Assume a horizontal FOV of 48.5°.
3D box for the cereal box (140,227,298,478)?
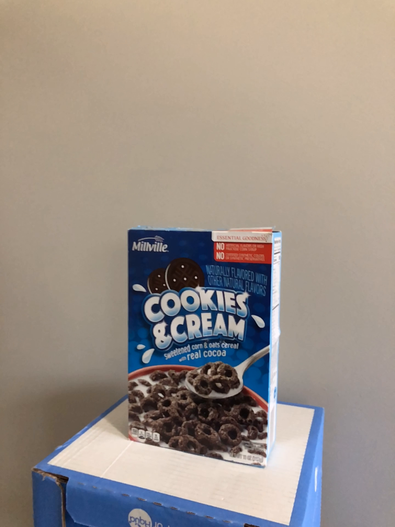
[{"bbox_3d":[0.027,0.107,0.604,0.200,0.310,0.070,3,5,19],"label":"cereal box"}]
